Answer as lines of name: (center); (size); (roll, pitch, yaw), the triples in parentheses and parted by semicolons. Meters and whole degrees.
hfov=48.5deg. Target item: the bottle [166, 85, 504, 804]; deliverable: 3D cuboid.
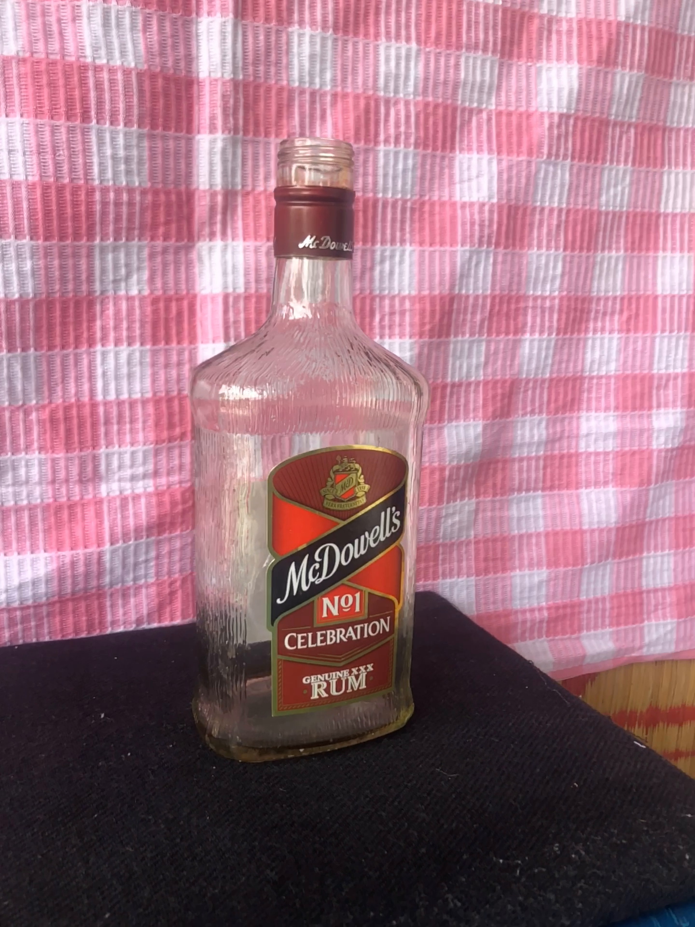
bottle: (-0.011, -0.003, 0.300); (0.100, 0.239, 0.060); (-3, 15, -28)
